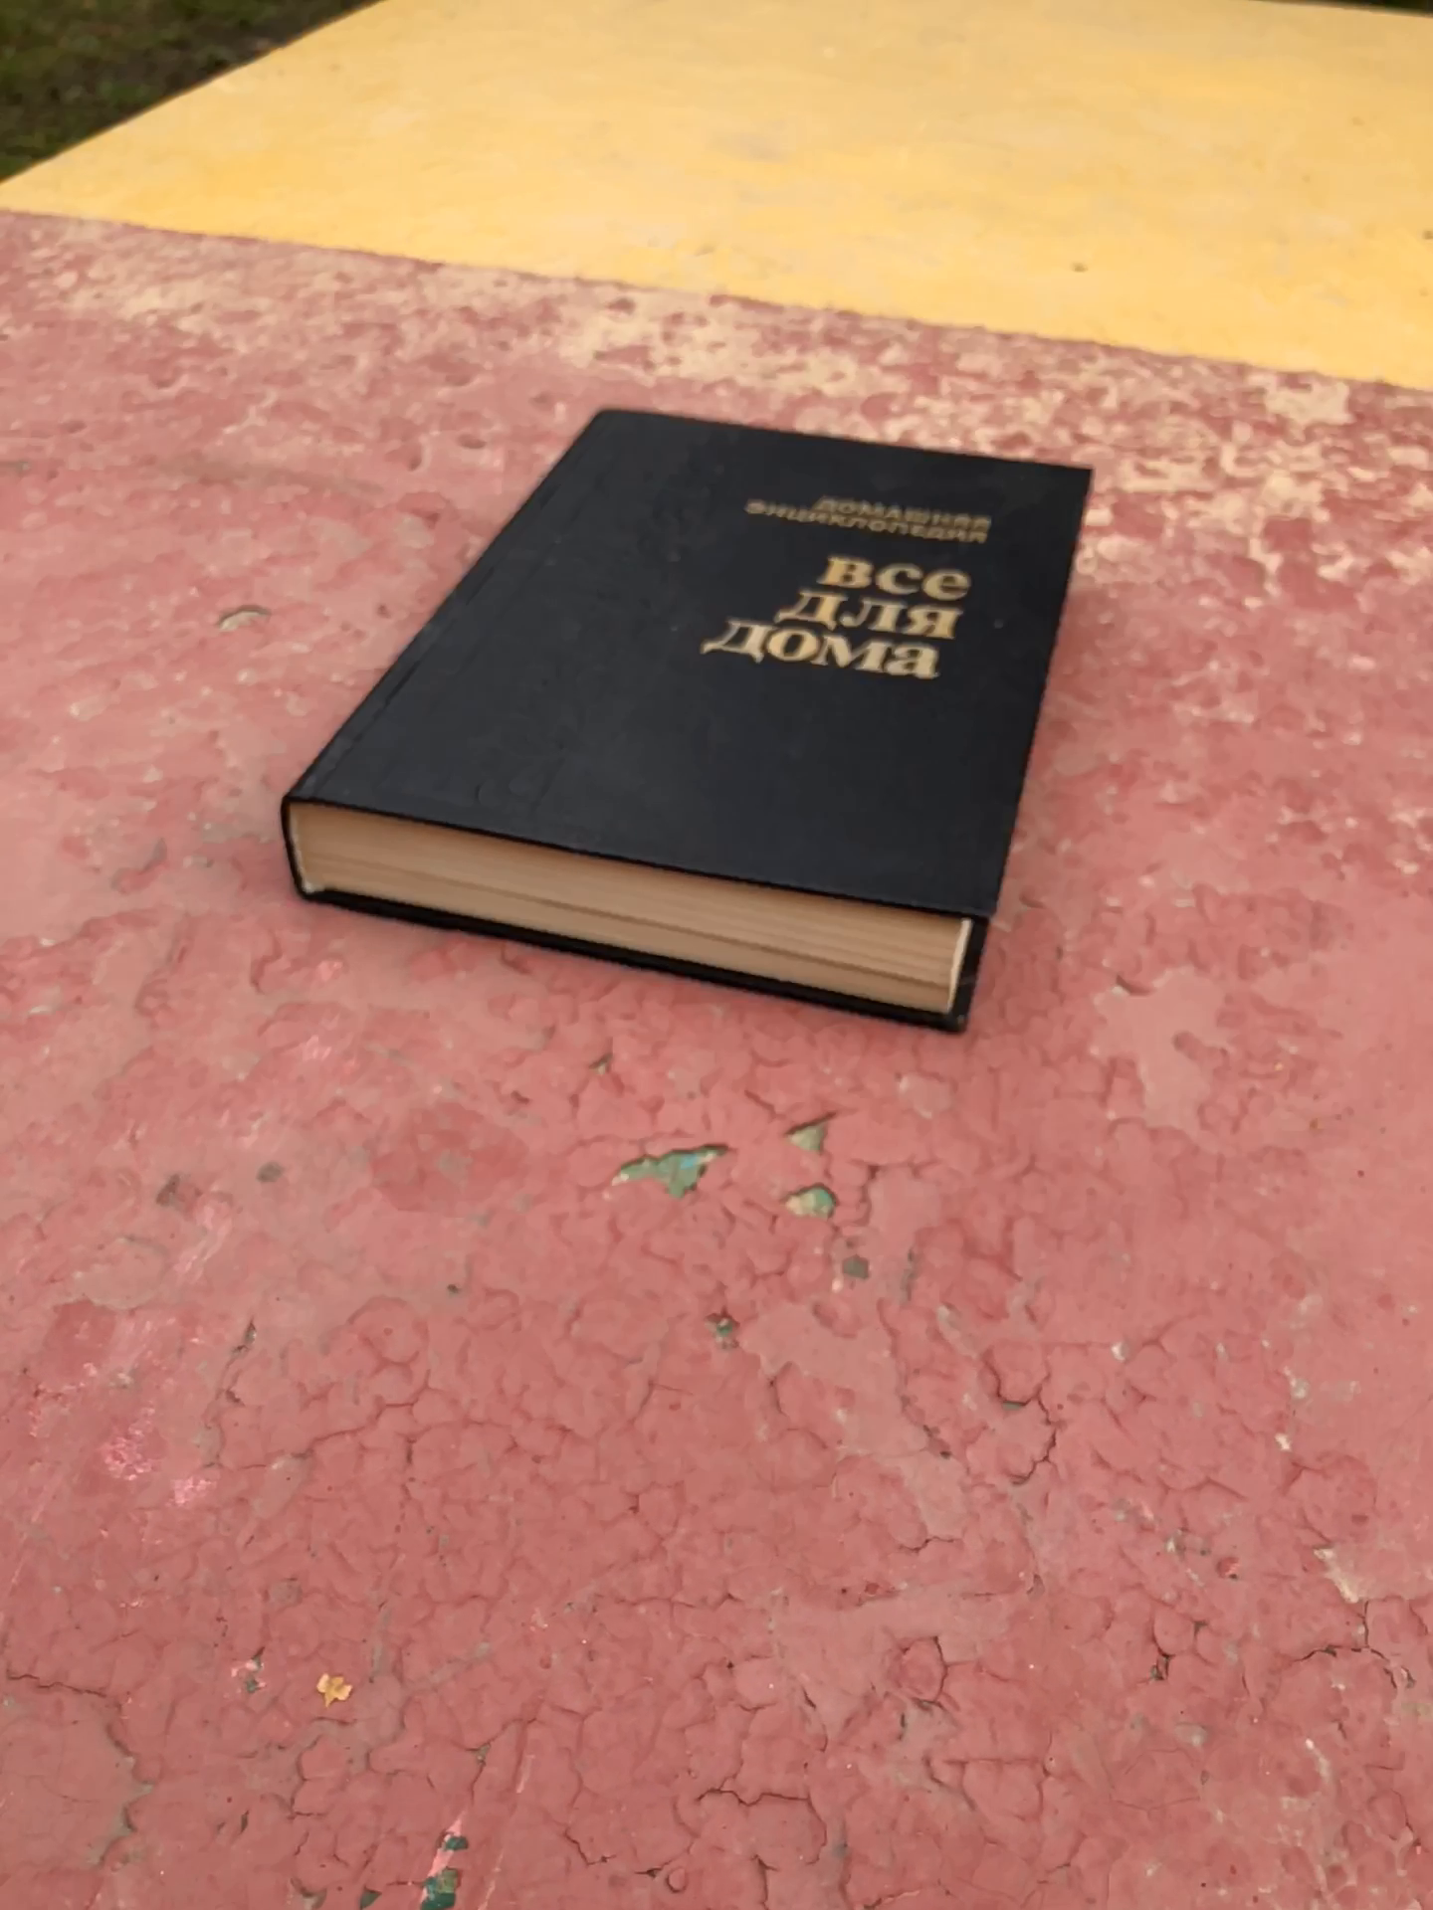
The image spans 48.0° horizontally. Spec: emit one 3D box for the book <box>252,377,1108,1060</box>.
[{"bbox_3d":[0.008,-0.075,0.394,0.150,0.040,0.211,11,42,11],"label":"book"}]
